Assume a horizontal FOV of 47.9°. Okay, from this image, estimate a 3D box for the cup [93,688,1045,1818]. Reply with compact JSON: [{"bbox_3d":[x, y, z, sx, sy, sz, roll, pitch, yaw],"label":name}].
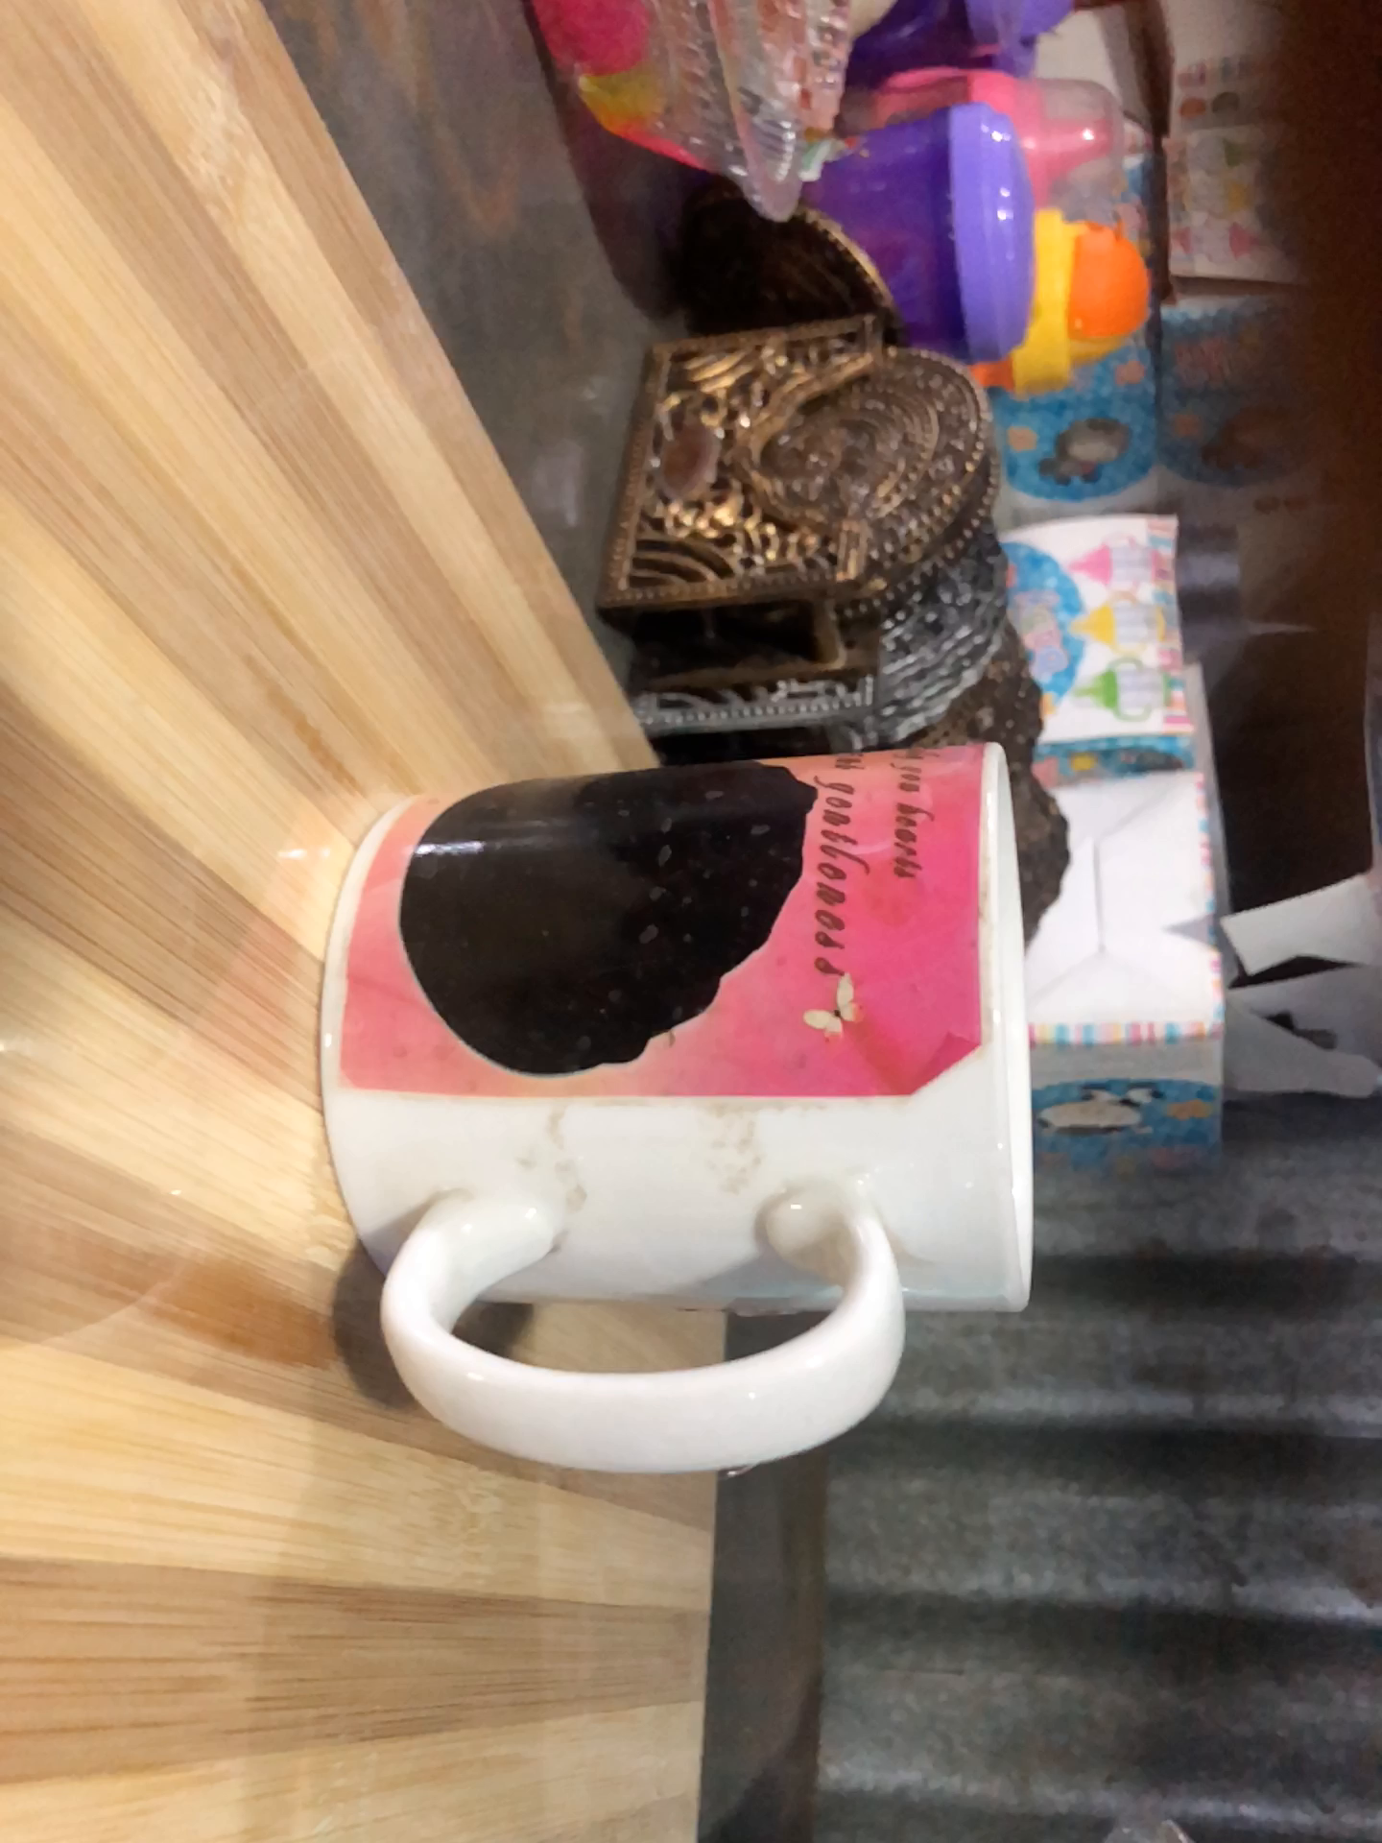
[{"bbox_3d":[0.002,0.036,0.218,0.120,0.090,0.090,-71,155,-56],"label":"cup"}]
